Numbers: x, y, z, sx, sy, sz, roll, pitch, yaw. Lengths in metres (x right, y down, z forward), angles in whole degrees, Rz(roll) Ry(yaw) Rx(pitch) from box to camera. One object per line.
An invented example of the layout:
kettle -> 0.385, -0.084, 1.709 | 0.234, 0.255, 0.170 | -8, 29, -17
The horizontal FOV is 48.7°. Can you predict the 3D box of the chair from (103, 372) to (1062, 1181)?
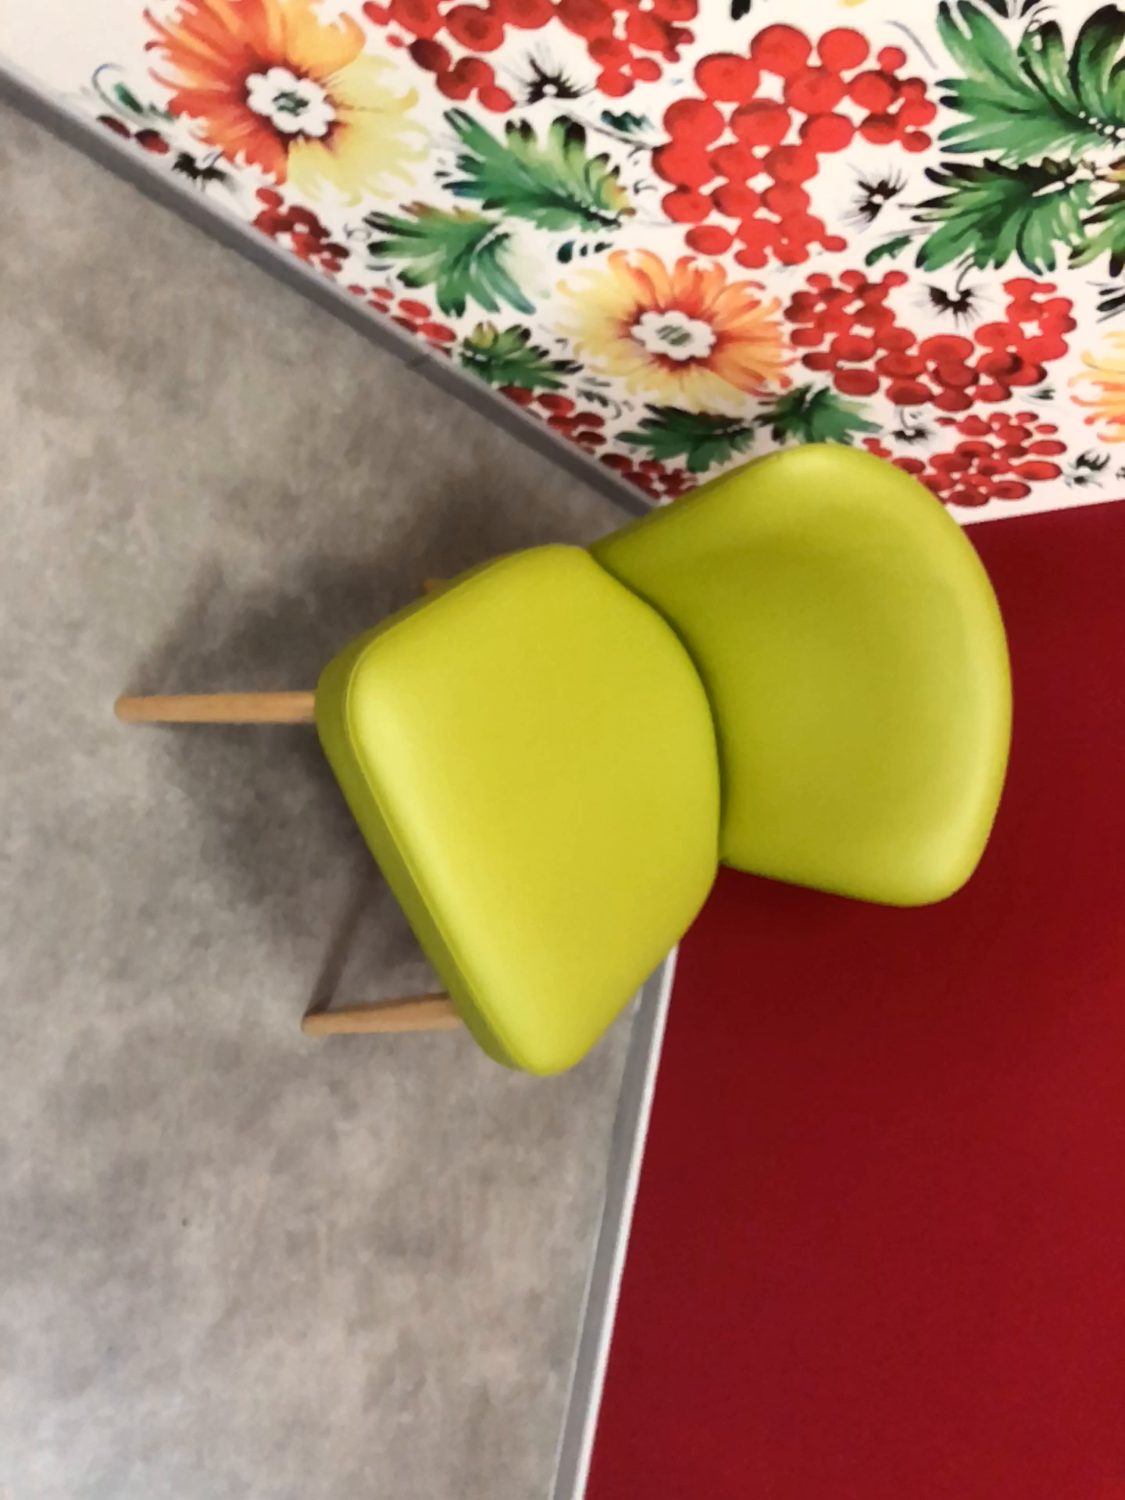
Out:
chair -> 0.020, 0.005, 1.411 | 0.573, 0.776, 0.520 | -40, 116, -39
